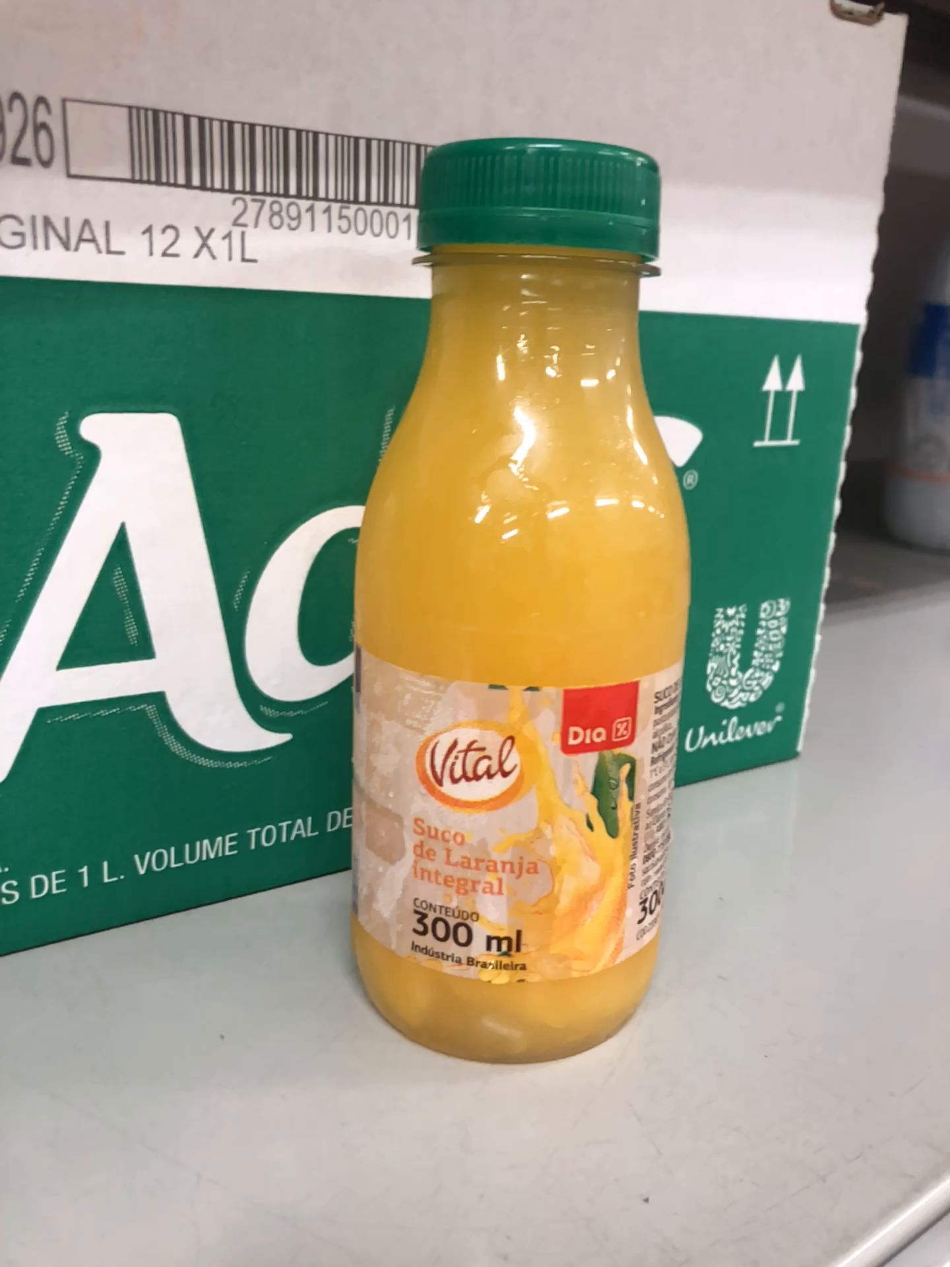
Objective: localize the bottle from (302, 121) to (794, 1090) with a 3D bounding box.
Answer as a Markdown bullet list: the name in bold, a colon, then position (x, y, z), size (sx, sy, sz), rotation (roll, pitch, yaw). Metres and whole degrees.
- **bottle**: position (0.010, -0.005, 0.203), size (0.070, 0.159, 0.060), rotation (4, 17, 5)
